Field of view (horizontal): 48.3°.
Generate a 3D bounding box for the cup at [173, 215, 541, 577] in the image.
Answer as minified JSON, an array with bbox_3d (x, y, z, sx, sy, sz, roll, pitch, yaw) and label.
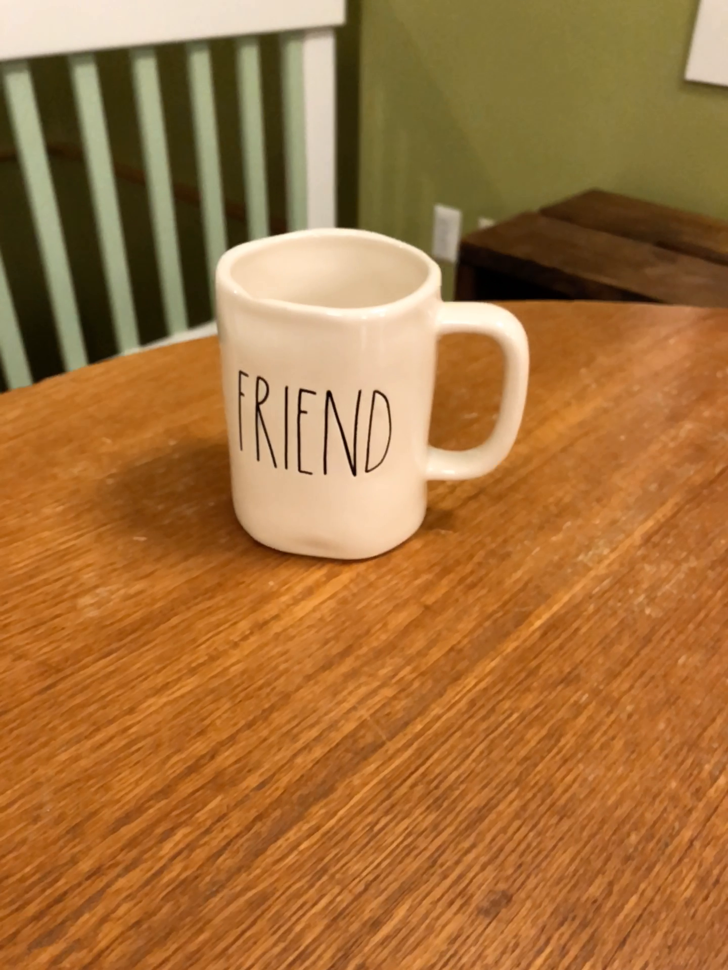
[{"bbox_3d":[0.001,-0.039,0.338,0.124,0.114,0.084,5,35,6],"label":"cup"}]
